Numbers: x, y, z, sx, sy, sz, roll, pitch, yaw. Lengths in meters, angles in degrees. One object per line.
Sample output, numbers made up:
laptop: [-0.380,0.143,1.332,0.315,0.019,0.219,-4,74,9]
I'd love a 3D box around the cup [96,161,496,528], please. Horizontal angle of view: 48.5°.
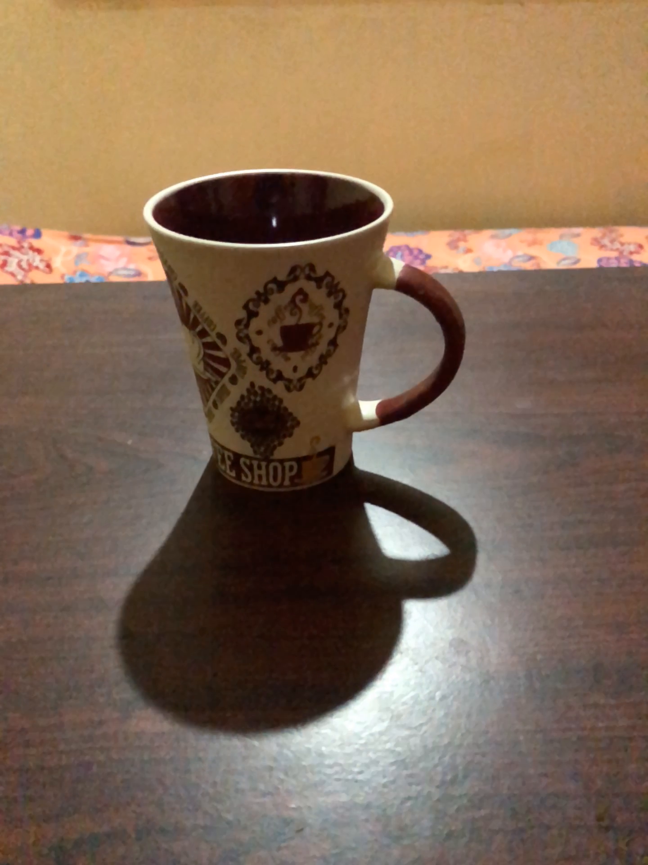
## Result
cup: [-0.002,-0.042,0.289,0.120,0.099,0.101,9,35,14]
